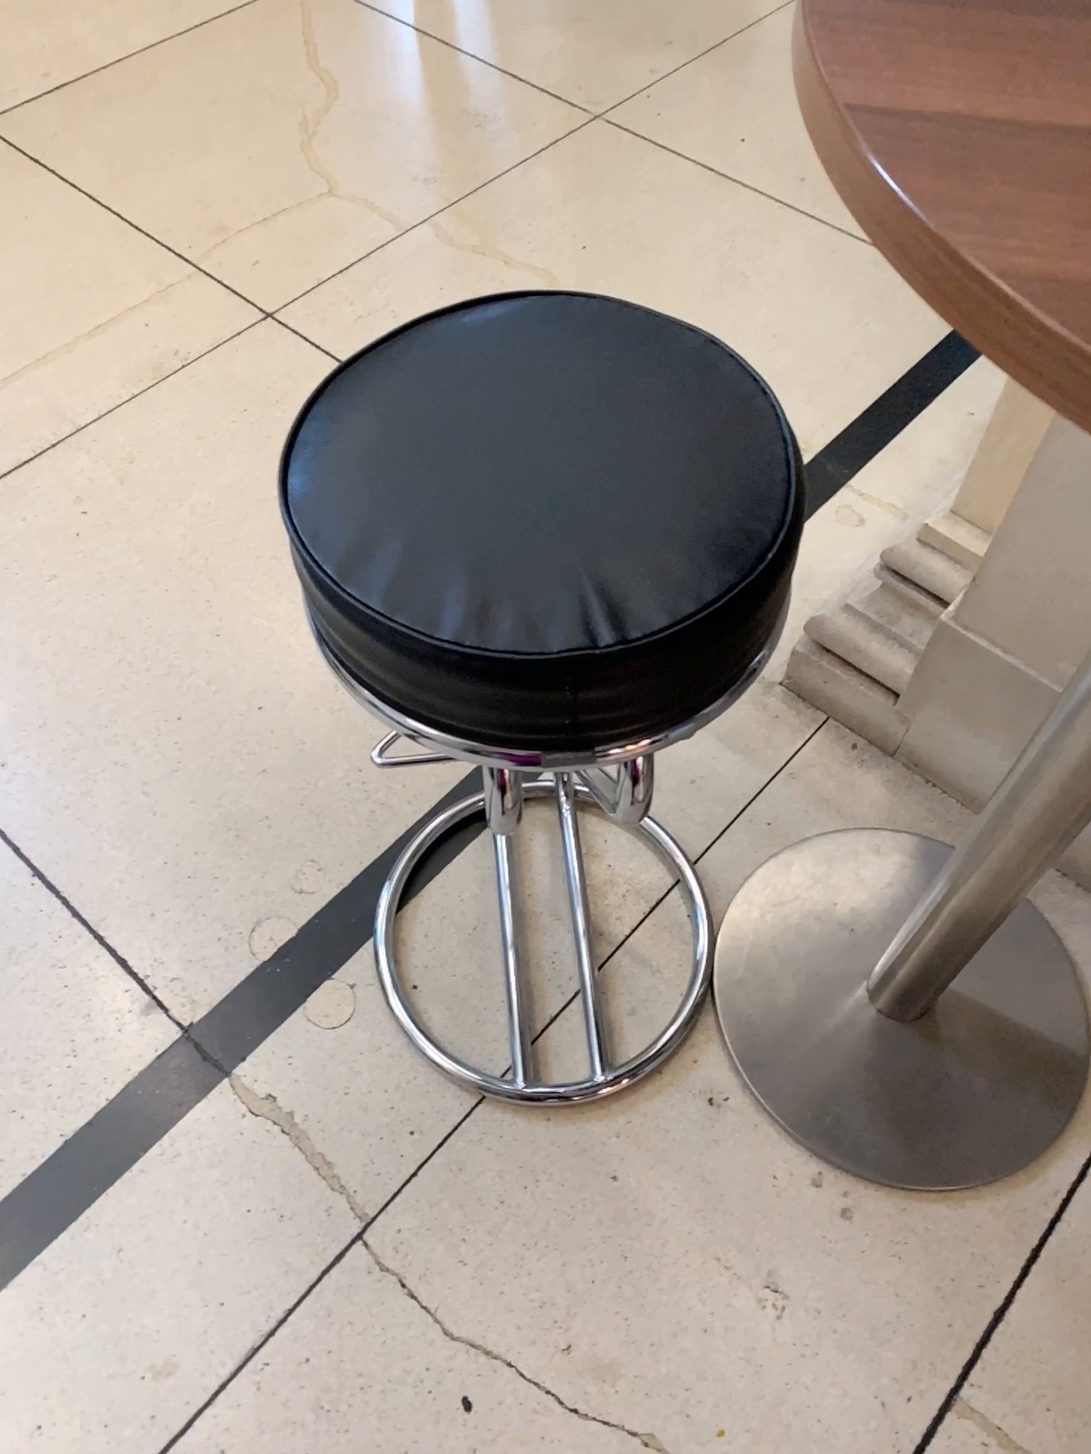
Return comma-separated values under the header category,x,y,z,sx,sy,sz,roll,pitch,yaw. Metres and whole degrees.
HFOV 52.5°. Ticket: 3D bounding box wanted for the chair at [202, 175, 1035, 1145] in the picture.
category,x,y,z,sx,sy,sz,roll,pitch,yaw
chair,0.005,0.013,1.082,0.464,0.814,0.507,-8,57,-5
